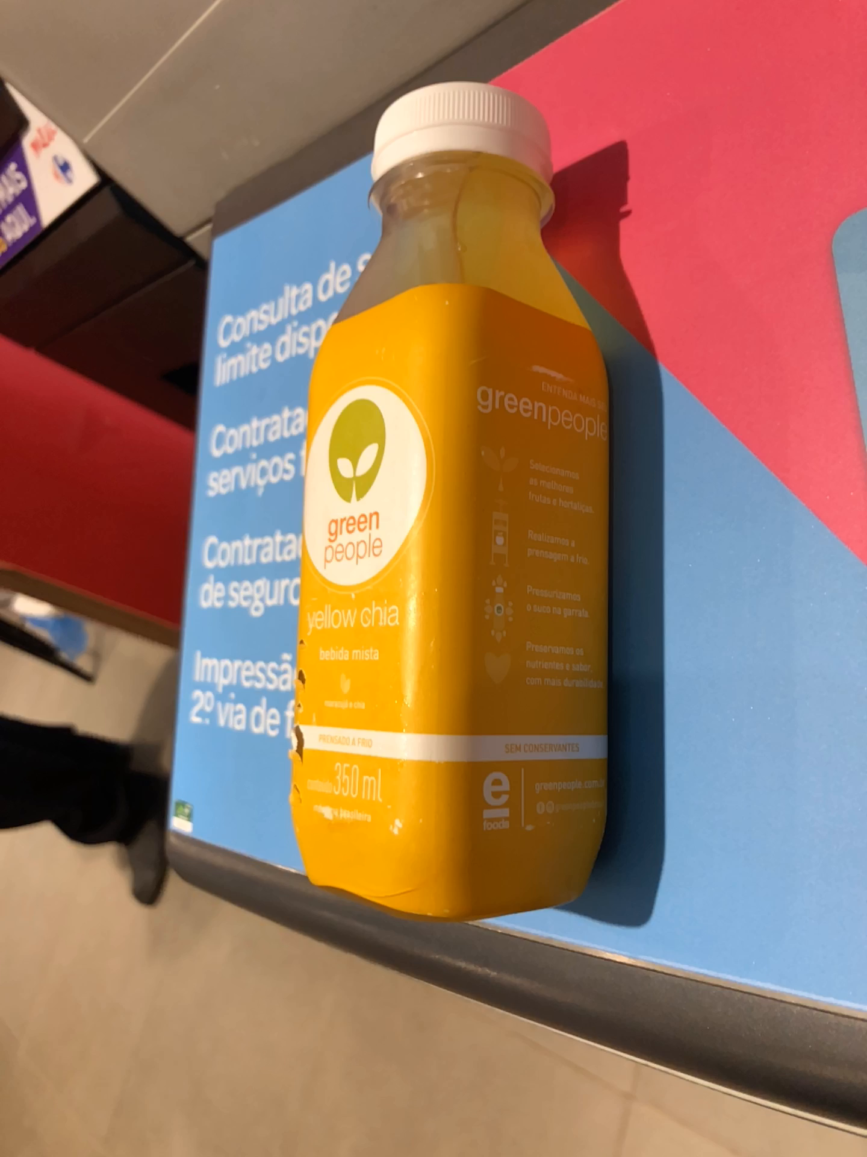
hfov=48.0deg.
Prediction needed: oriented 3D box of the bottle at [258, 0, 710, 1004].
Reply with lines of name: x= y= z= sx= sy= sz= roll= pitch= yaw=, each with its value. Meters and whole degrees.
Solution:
bottle: x=0.012 y=-0.016 z=0.209 sx=0.060 sy=0.060 sz=0.180 roll=-3 pitch=81 yaw=51
